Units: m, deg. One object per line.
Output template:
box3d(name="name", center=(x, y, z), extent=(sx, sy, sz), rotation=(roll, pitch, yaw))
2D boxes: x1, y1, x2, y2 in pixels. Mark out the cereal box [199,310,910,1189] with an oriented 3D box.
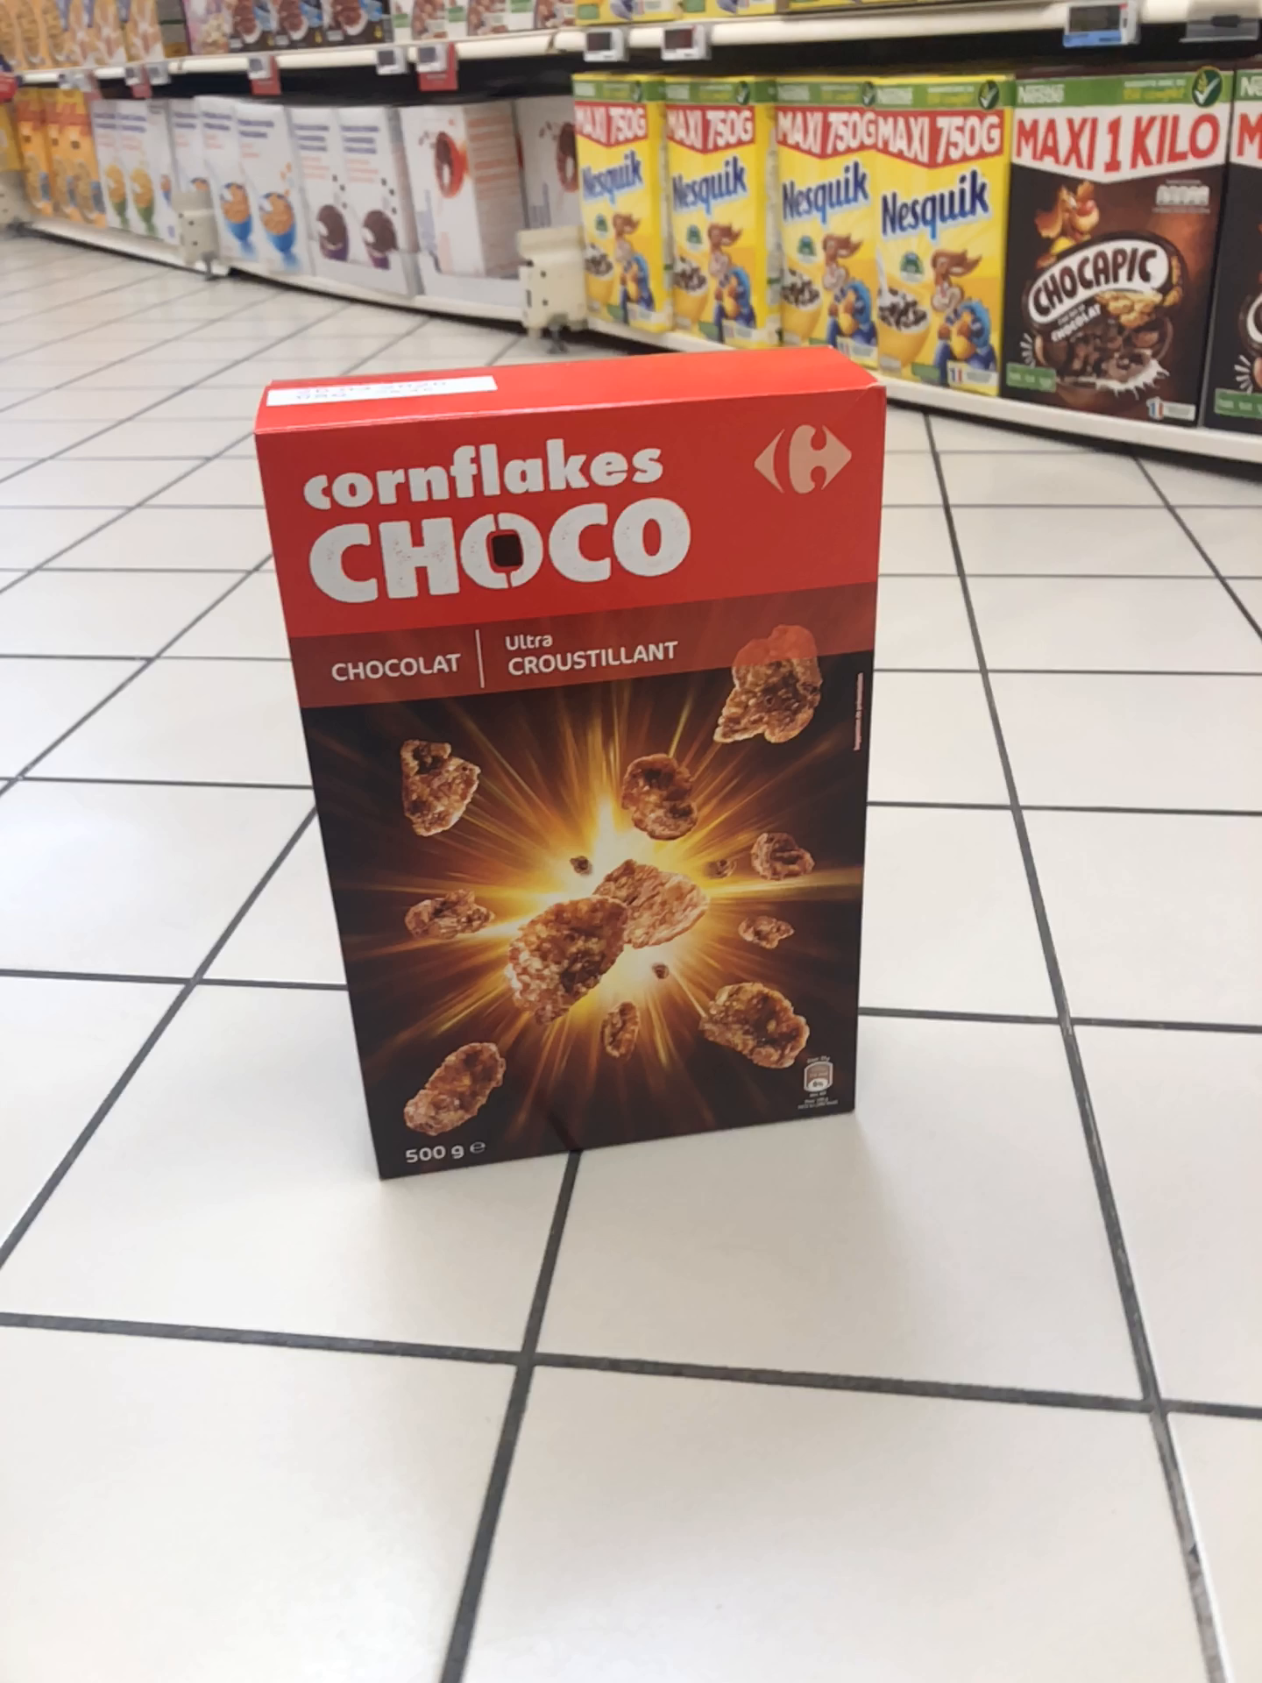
box3d(name="cereal box", center=(-0.020, -0.028, 0.493), extent=(0.200, 0.278, 0.090), rotation=(-6, 28, -7))
